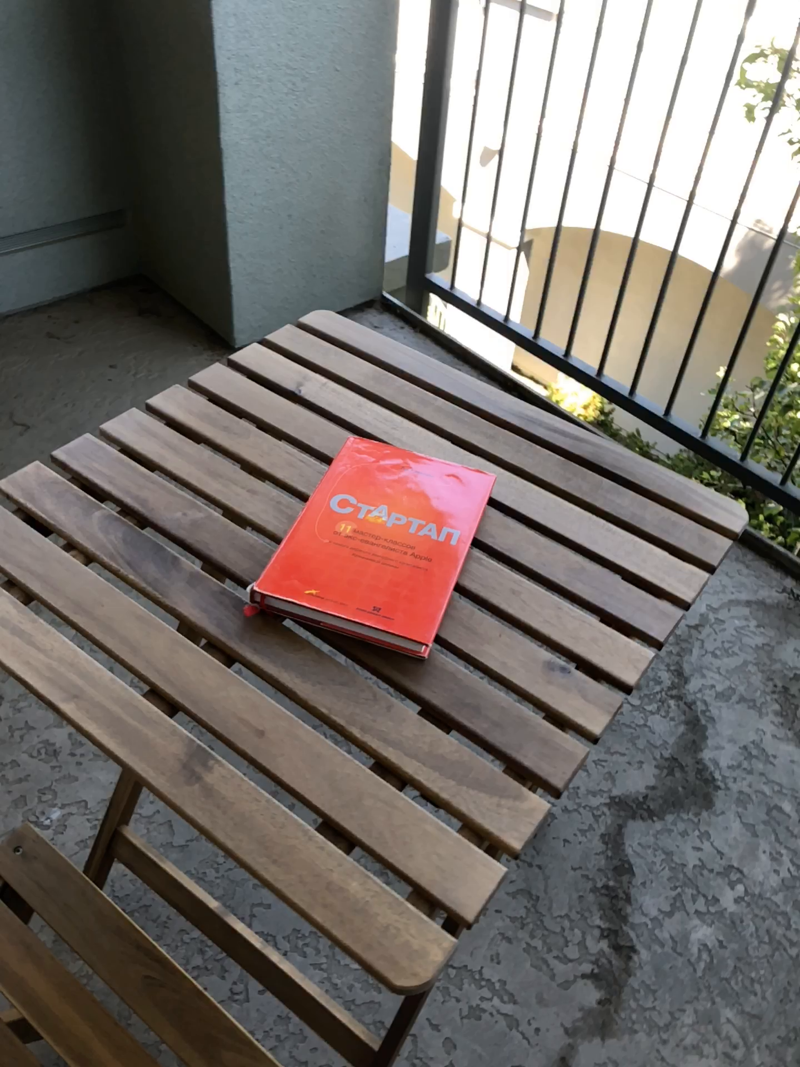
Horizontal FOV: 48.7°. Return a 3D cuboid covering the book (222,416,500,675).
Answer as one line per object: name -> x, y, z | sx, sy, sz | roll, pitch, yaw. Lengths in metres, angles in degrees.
book -> -0.027, -0.001, 0.821 | 0.180, 0.050, 0.241 | 16, 44, 11
